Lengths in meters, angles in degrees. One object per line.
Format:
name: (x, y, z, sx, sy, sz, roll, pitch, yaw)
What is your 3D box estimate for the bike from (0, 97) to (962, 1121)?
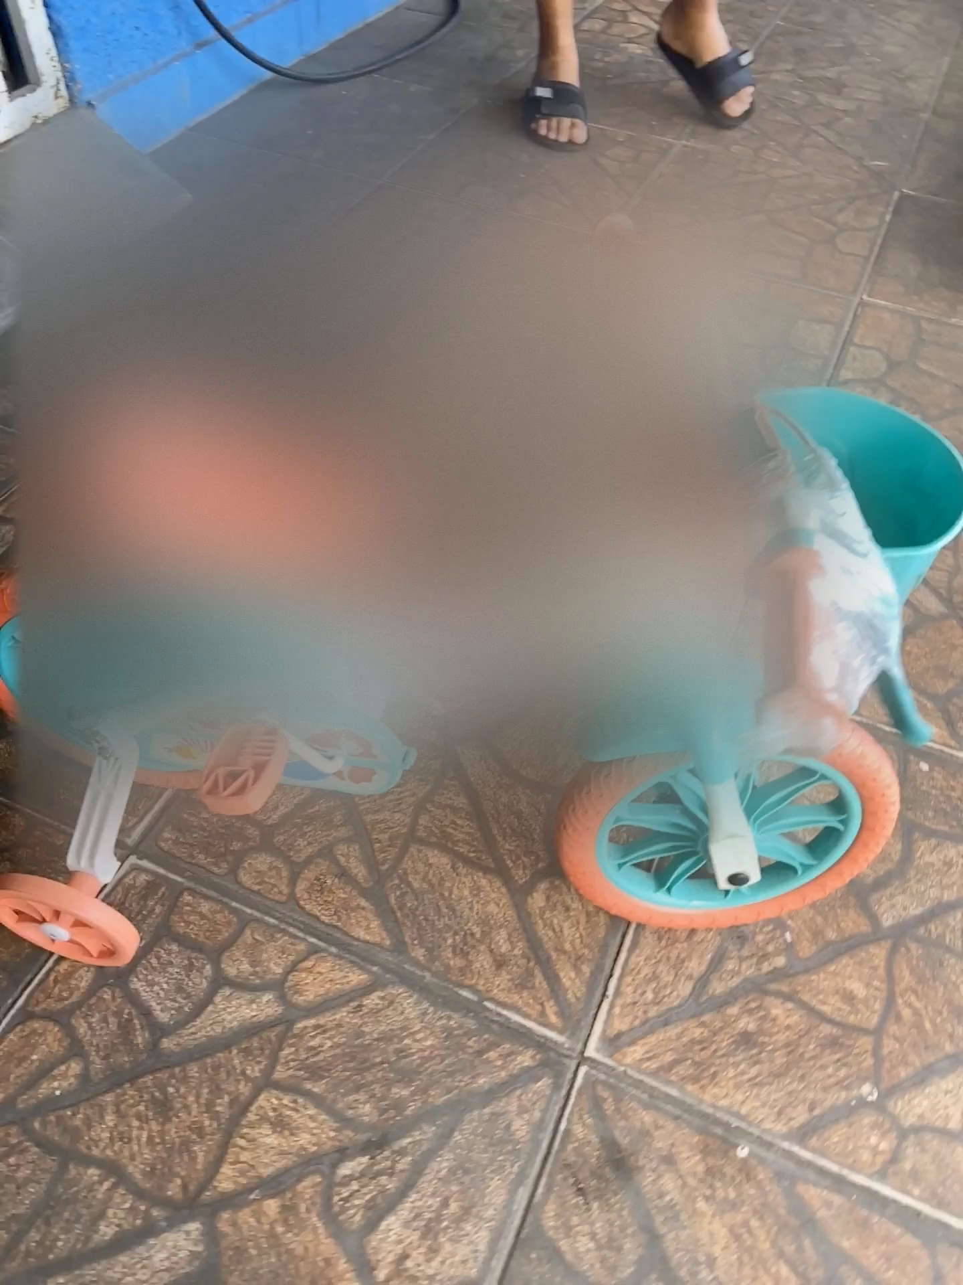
bike: (-0.054, -0.034, 0.776, 0.806, 0.534, 0.501, 7, 48, 7)
